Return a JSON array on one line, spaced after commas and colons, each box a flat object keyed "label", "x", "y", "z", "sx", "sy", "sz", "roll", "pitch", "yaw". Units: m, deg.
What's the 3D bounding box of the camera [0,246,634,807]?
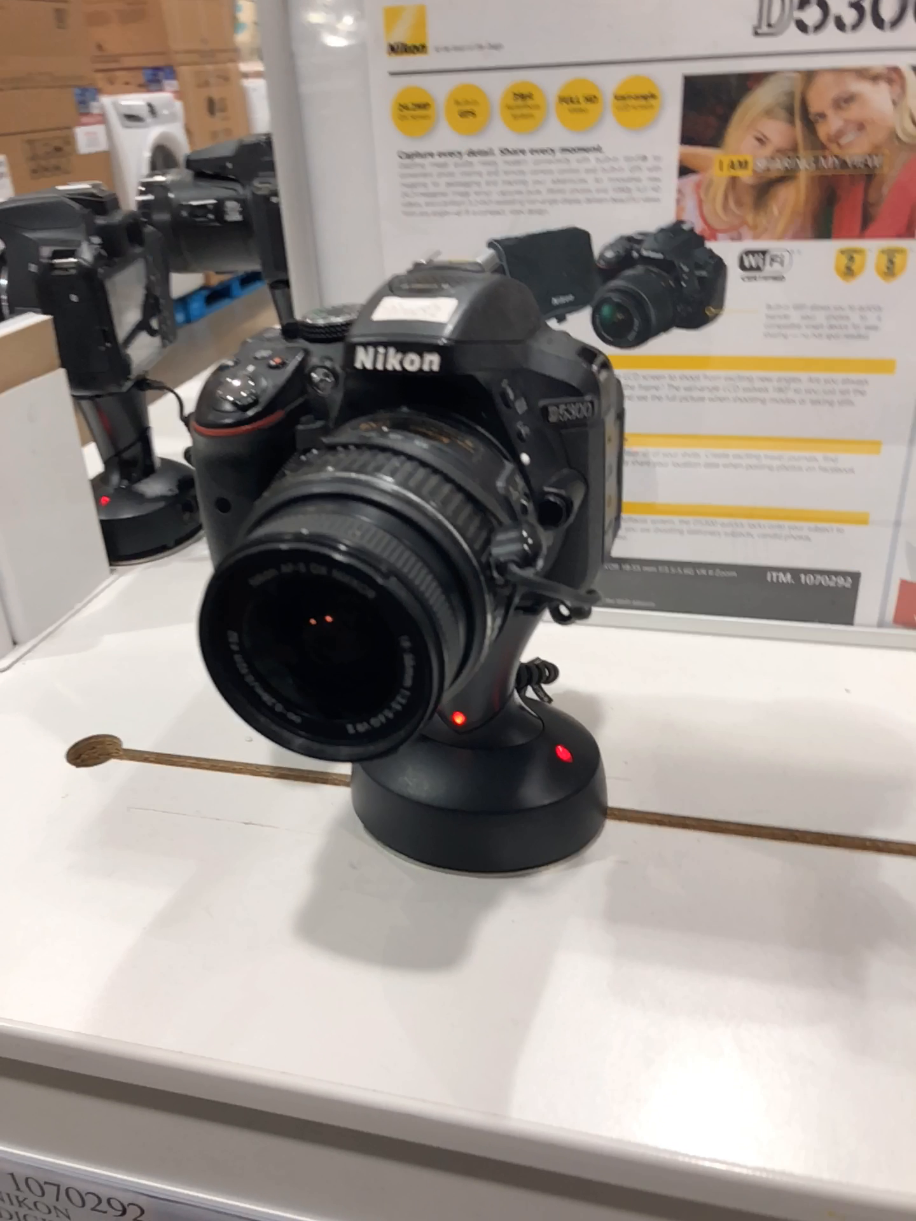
[{"label": "camera", "x": -0.025, "y": -0.035, "z": 0.267, "sx": 0.130, "sy": 0.090, "sz": 0.141, "roll": 3, "pitch": 29, "yaw": 12}]
